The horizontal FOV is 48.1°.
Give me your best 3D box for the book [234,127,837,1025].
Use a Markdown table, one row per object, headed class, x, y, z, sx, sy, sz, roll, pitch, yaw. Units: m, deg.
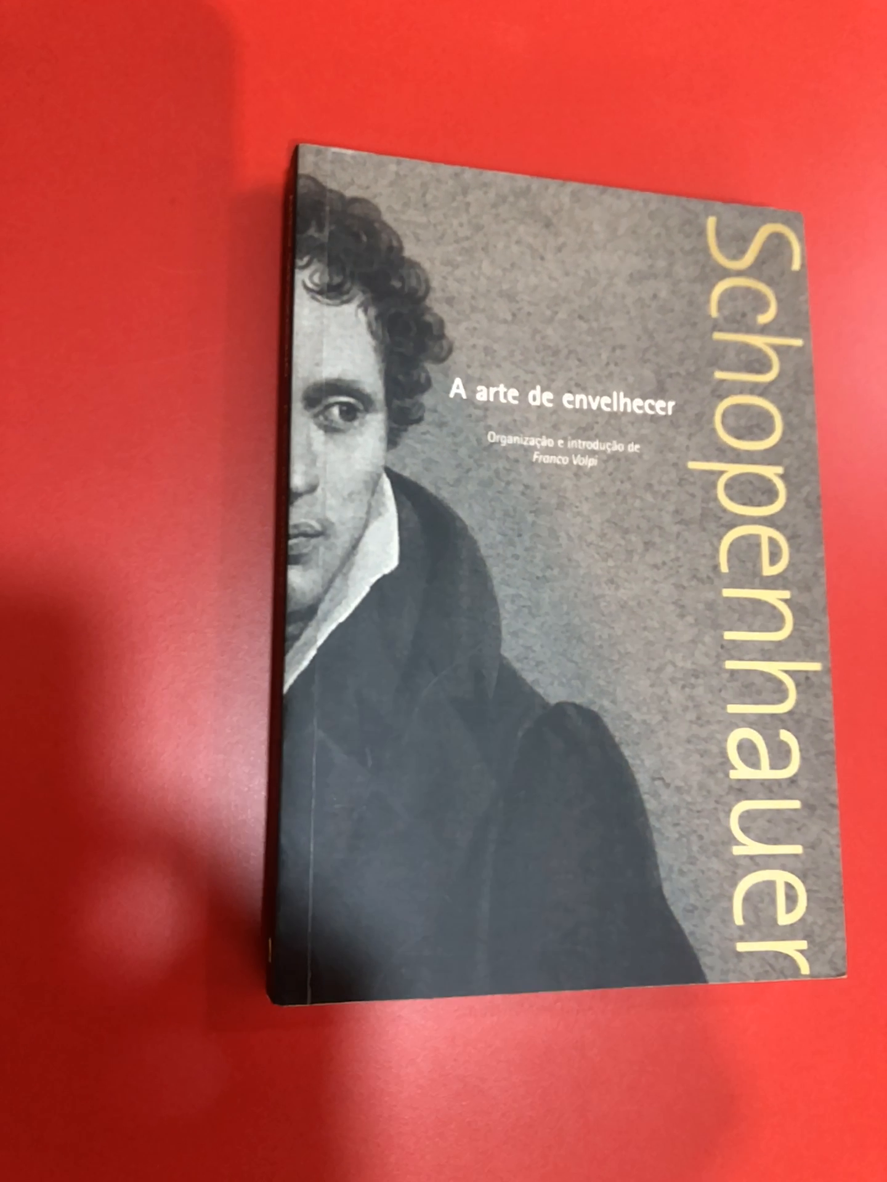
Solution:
| class | x | y | z | sx | sy | sz | roll | pitch | yaw |
| --- | --- | --- | --- | --- | --- | --- | --- | --- | --- |
| book | 0.024 | -0.006 | 0.237 | 0.137 | 0.017 | 0.196 | 2 | 82 | -13 |
